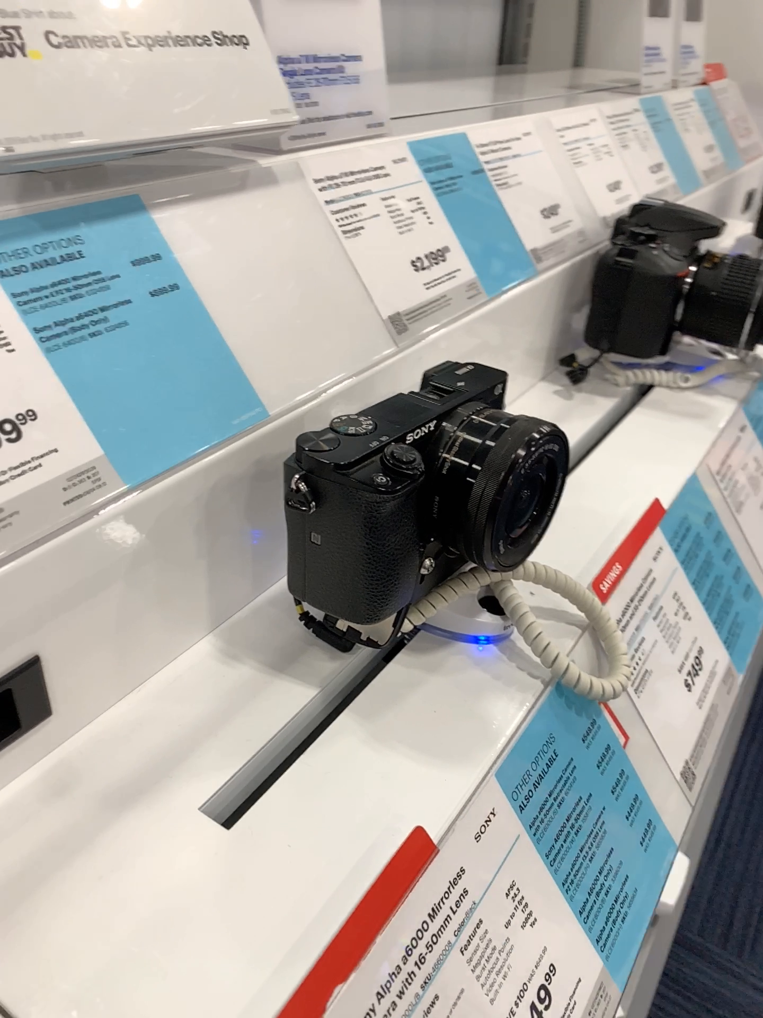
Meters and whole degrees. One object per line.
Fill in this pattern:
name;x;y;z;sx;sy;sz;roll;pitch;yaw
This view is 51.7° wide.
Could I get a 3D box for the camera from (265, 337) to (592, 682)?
camera;0.022;-0.008;0.322;0.060;0.080;0.130;25;38;31
